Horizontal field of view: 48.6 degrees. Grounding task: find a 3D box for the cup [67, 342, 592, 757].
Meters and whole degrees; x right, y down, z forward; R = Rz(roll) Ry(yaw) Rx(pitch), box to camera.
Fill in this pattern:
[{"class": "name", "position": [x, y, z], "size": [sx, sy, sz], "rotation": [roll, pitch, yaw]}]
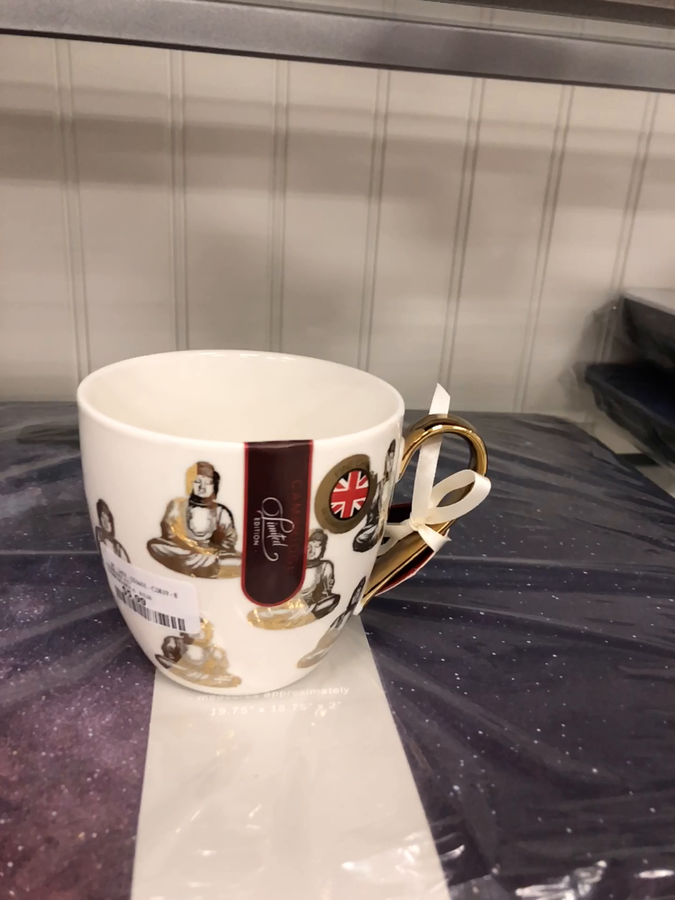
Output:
[{"class": "cup", "position": [-0.011, 0.021, 0.250], "size": [0.137, 0.089, 0.101], "rotation": [-2, 23, -15]}]
